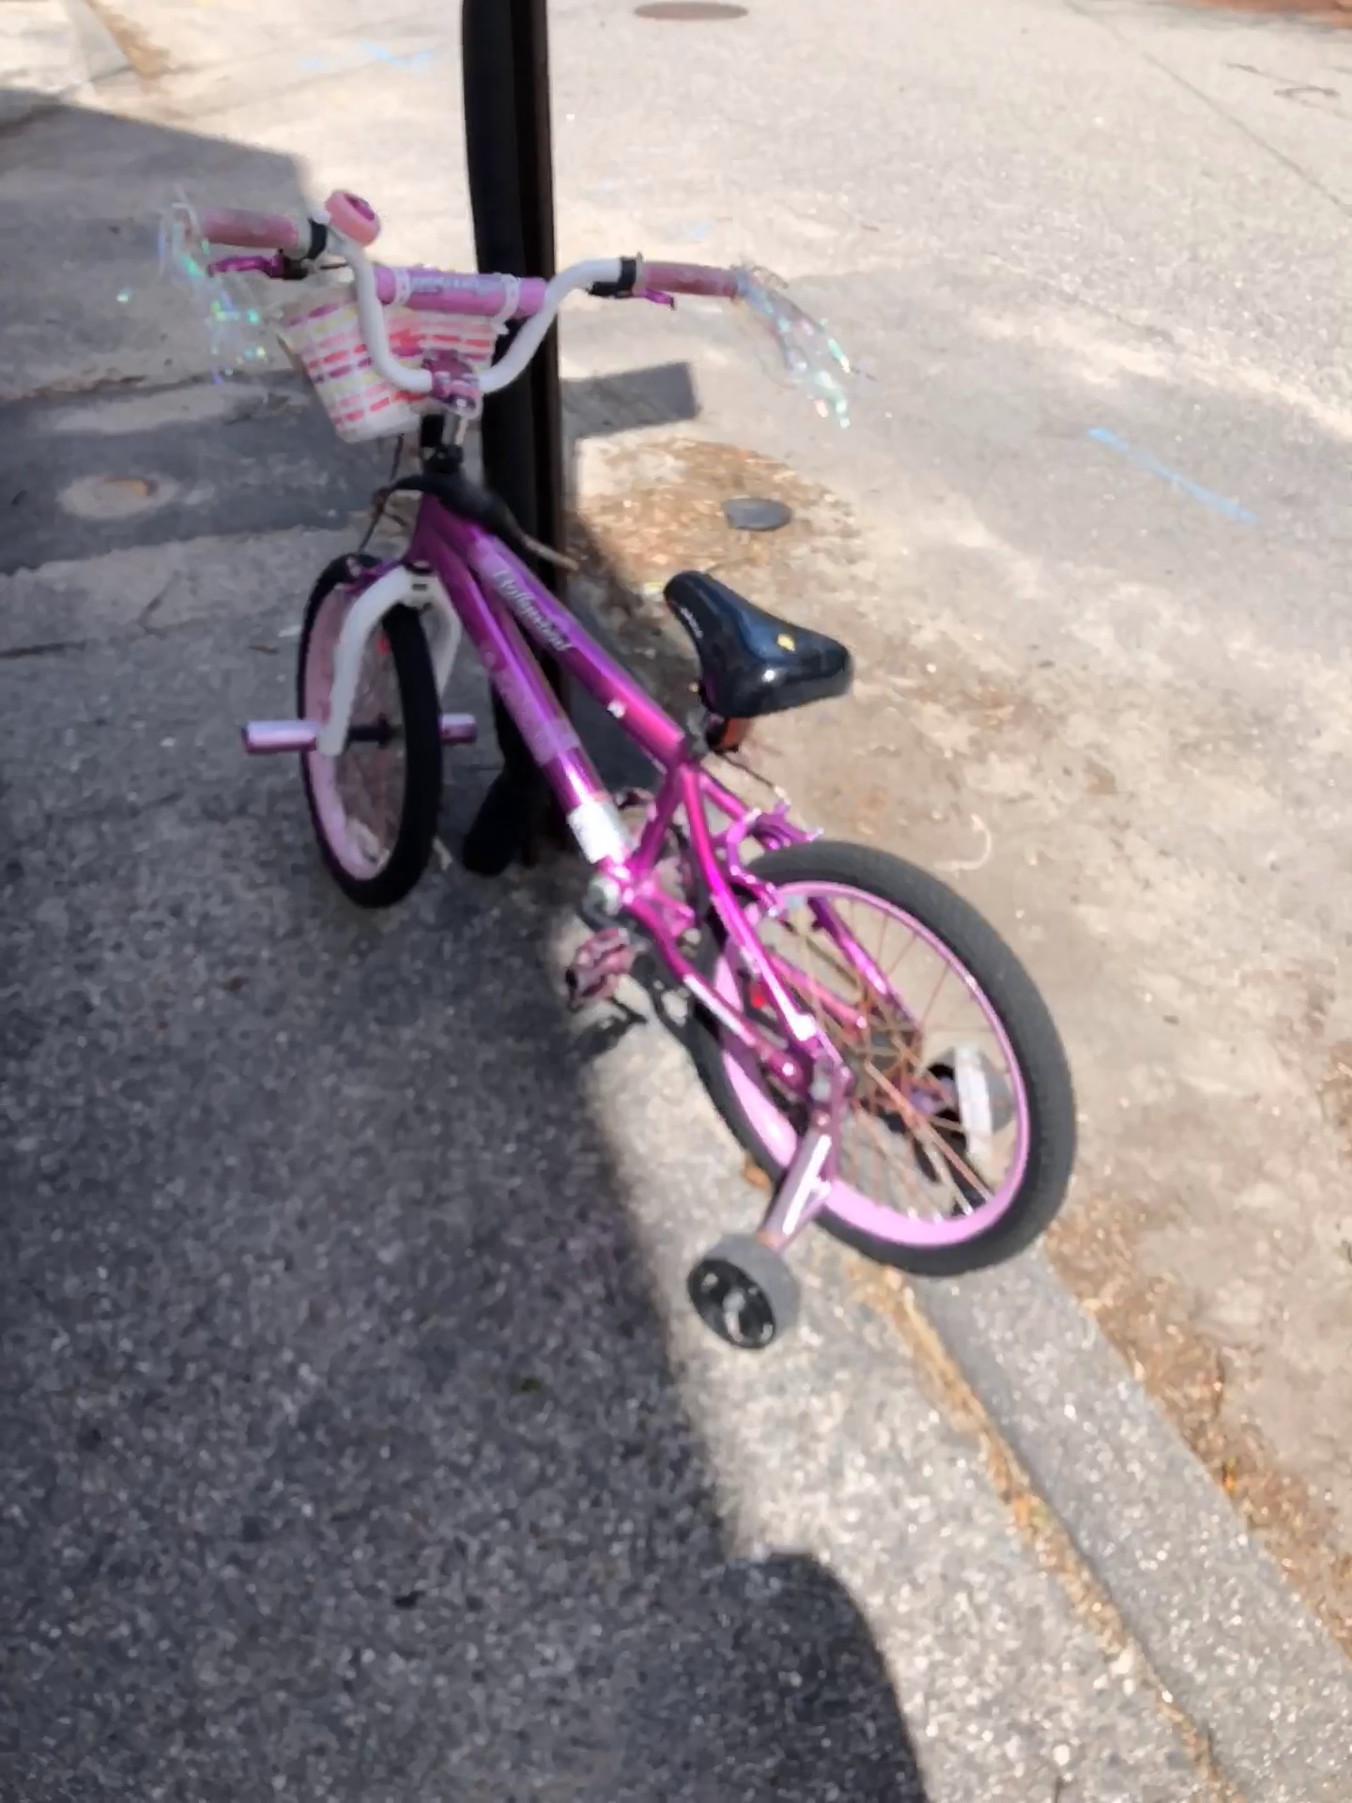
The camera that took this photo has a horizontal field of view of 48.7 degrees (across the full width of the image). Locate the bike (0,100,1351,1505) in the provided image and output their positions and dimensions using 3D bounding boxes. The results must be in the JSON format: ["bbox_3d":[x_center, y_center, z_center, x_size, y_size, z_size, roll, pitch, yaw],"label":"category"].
[{"bbox_3d":[-0.058,-0.229,1.554,0.616,0.869,1.228,-28,46,-33],"label":"bike"}]
